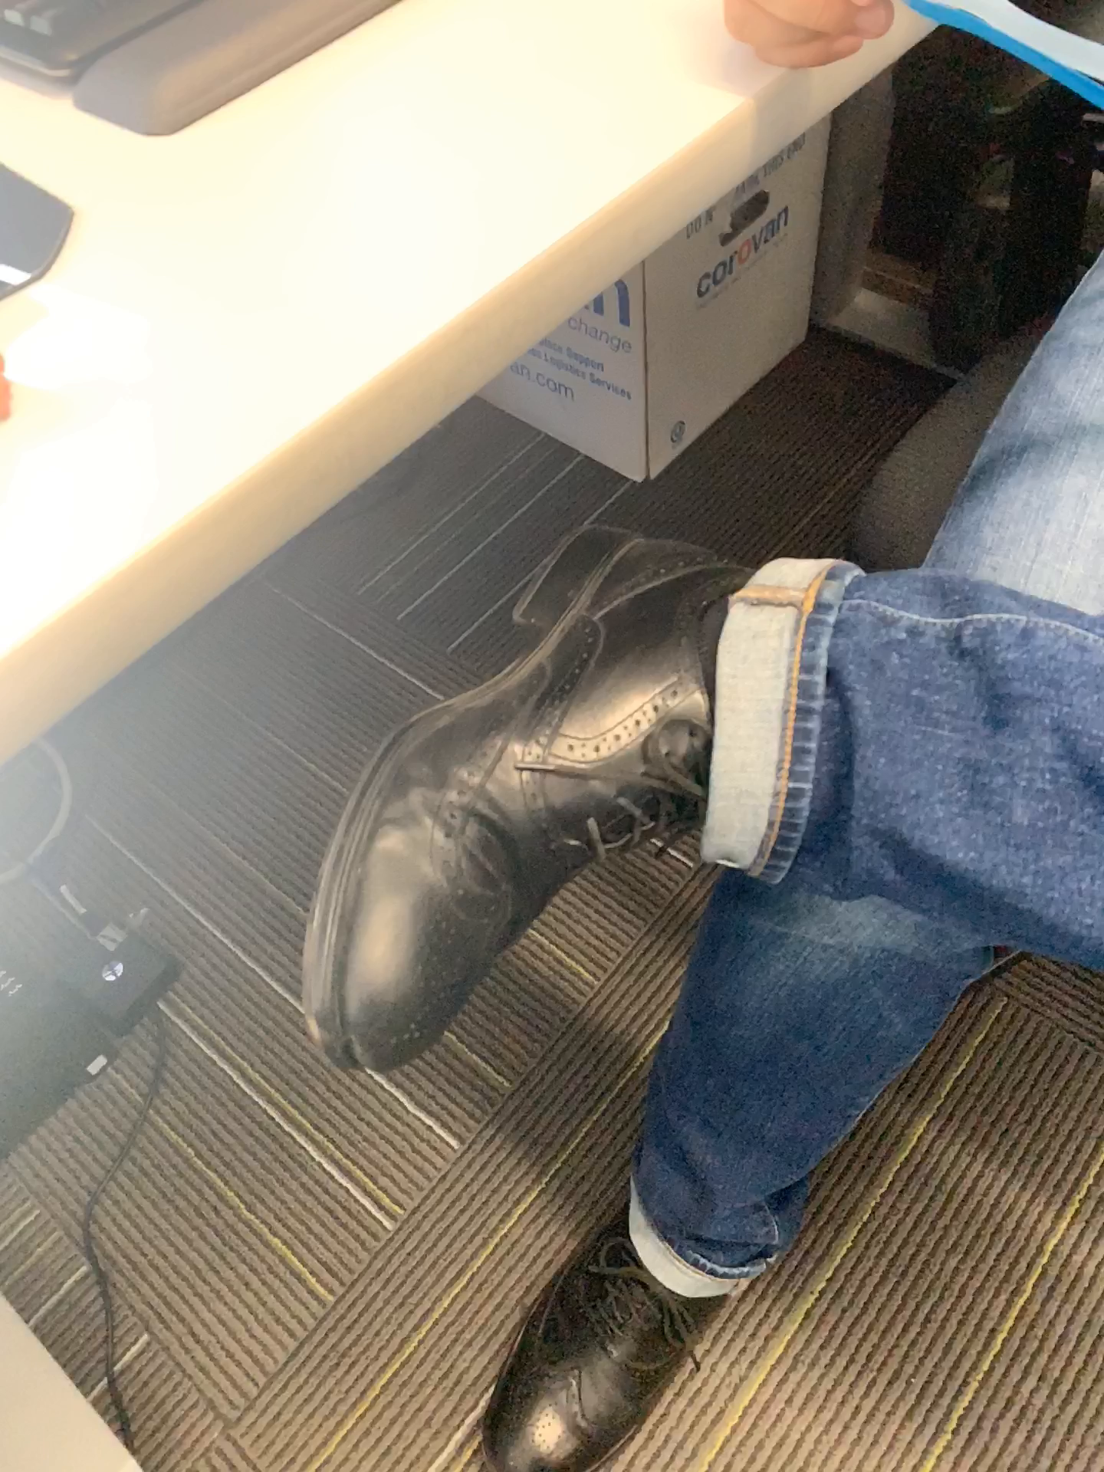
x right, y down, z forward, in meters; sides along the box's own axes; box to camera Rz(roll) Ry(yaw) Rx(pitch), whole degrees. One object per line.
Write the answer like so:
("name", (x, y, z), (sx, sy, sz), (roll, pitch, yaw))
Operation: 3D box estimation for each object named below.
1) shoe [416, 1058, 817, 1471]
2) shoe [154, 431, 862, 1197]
("shoe", (0.051, 0.374, 0.758), (0.112, 0.104, 0.274), (32, 64, 25))
("shoe", (0.003, 0.019, 0.433), (0.091, 0.111, 0.274), (30, 63, 28))
